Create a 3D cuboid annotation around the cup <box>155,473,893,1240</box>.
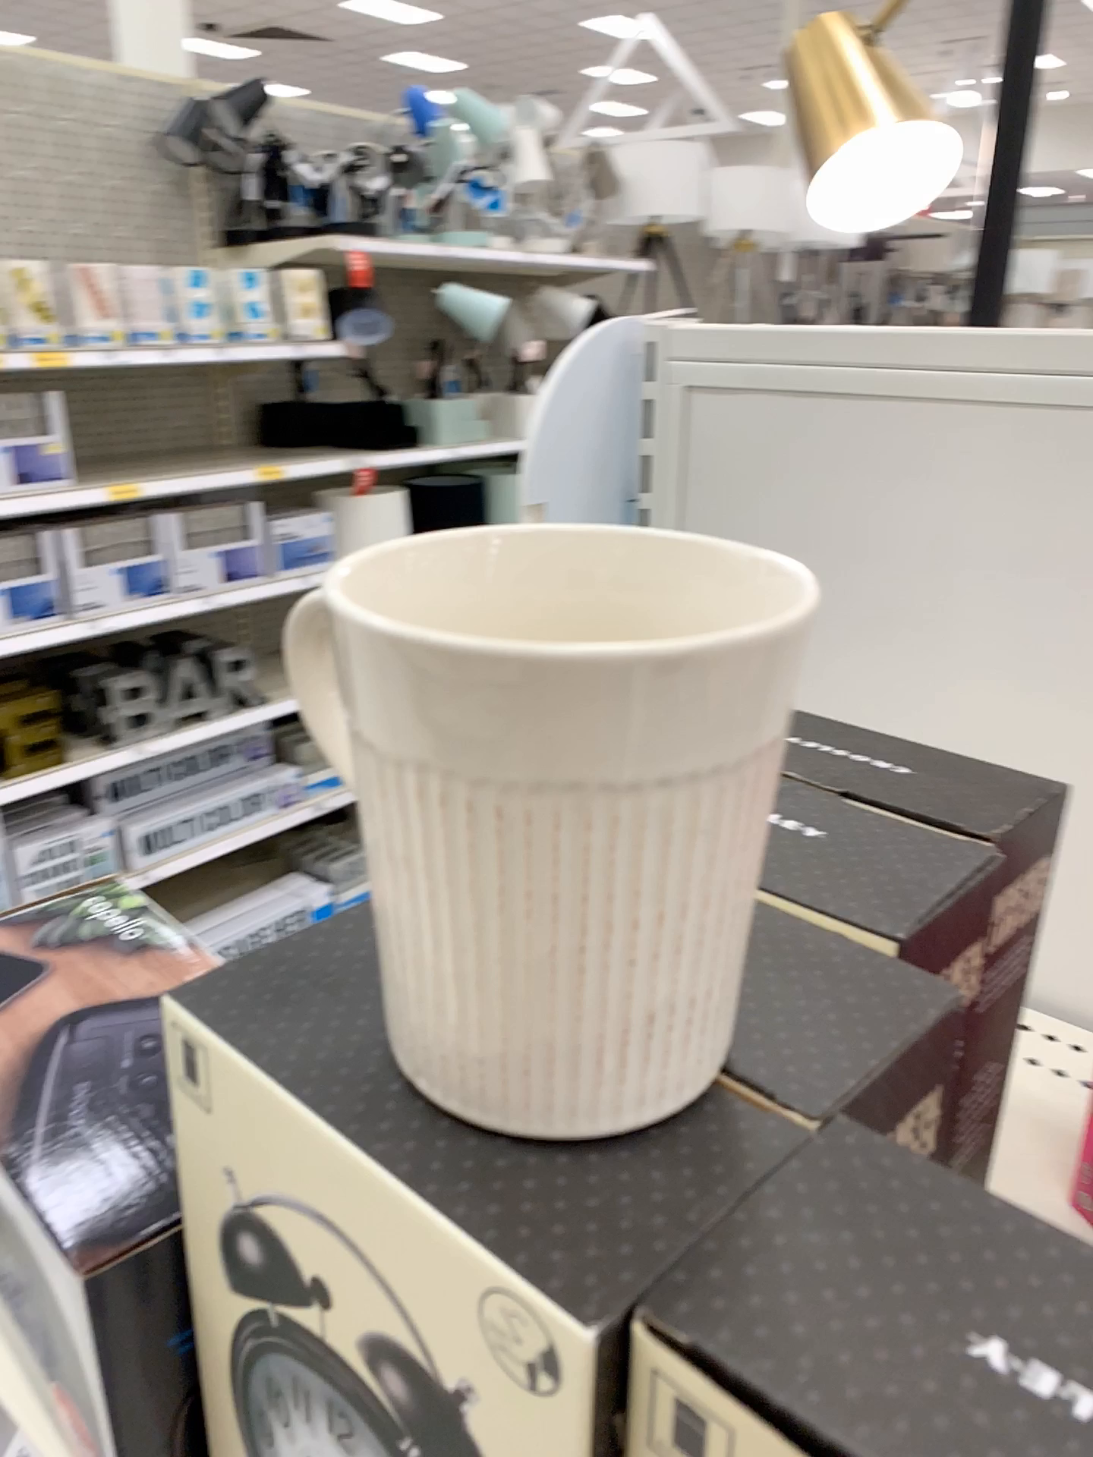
[{"bbox_3d":[-0.009,0.011,0.234,0.084,0.099,0.117,-20,32,-40],"label":"cup"}]
